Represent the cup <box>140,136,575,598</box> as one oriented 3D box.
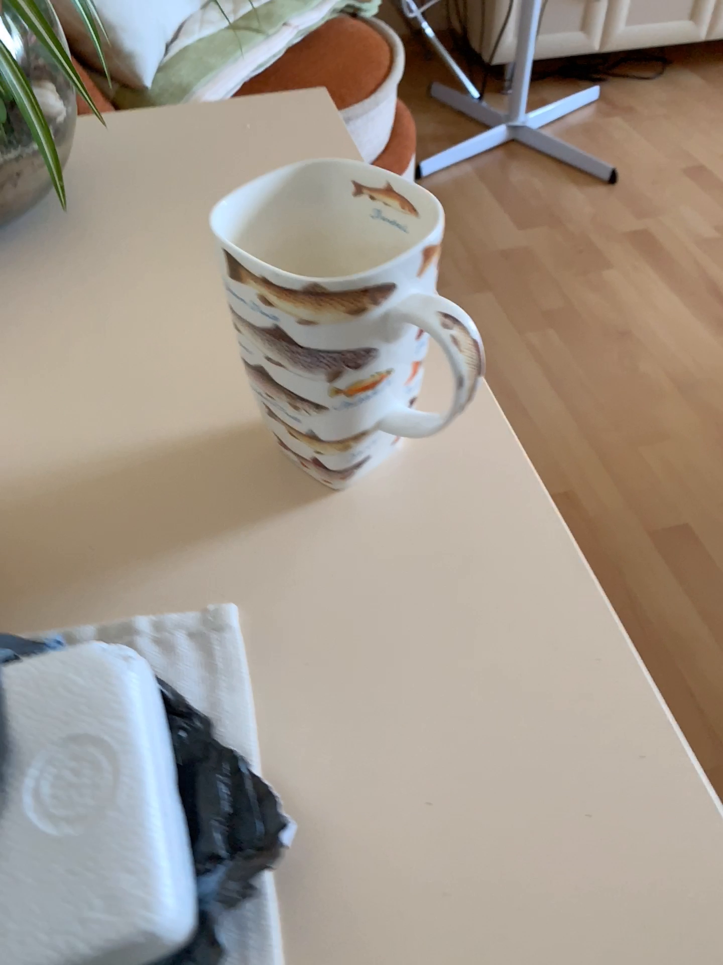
[{"bbox_3d":[-0.004,-0.055,0.339,0.141,0.129,0.100,36,58,28],"label":"cup"}]
